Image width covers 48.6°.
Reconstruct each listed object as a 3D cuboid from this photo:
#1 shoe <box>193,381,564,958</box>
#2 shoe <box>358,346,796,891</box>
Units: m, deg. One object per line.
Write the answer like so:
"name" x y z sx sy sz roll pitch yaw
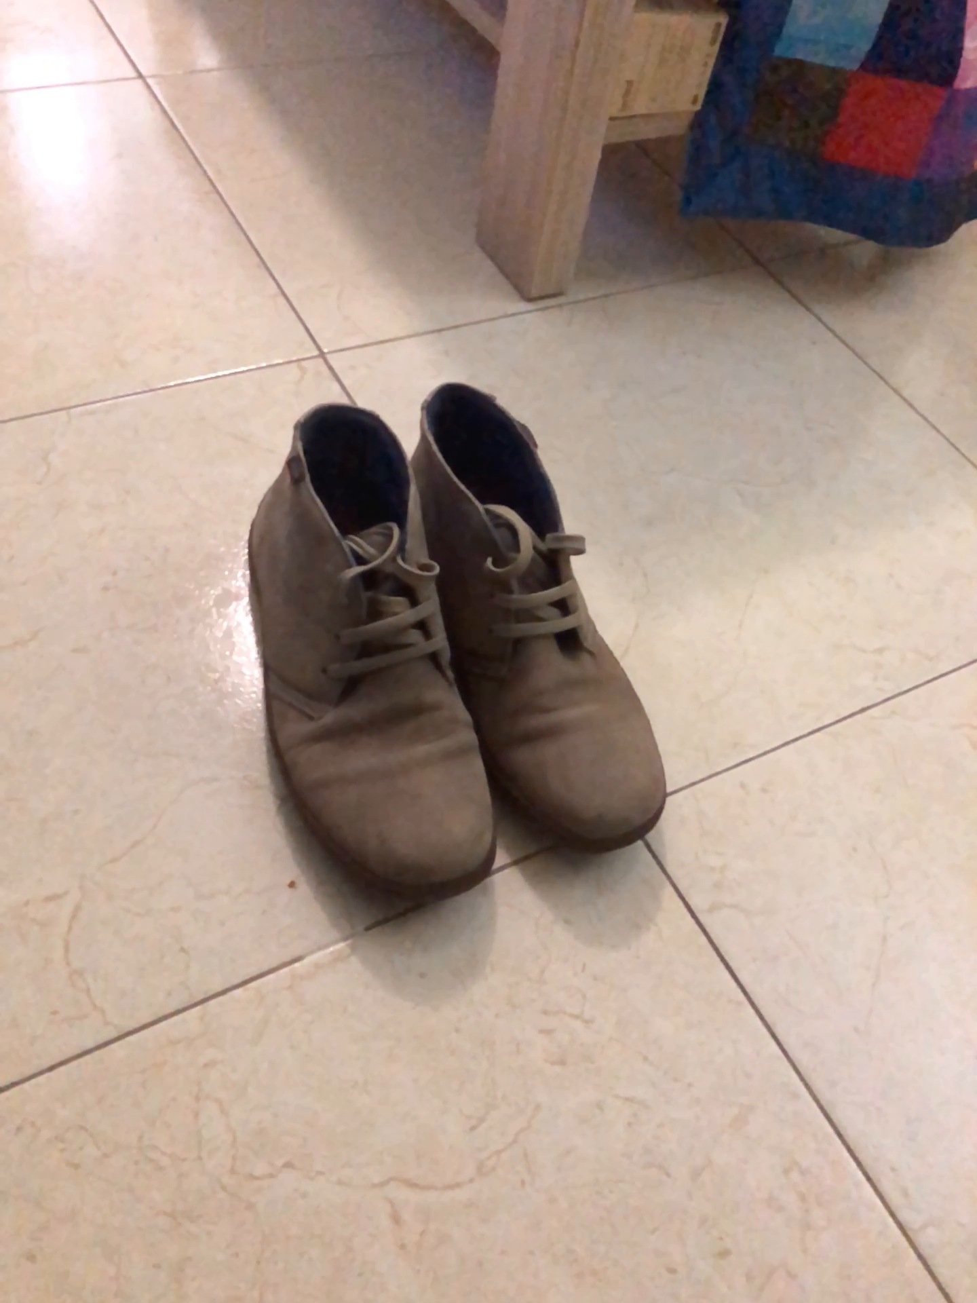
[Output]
"shoe" -0.073 -0.003 0.582 0.110 0.120 0.281 -11 55 -18
"shoe" 0.030 -0.031 0.614 0.120 0.120 0.281 -14 56 -20
